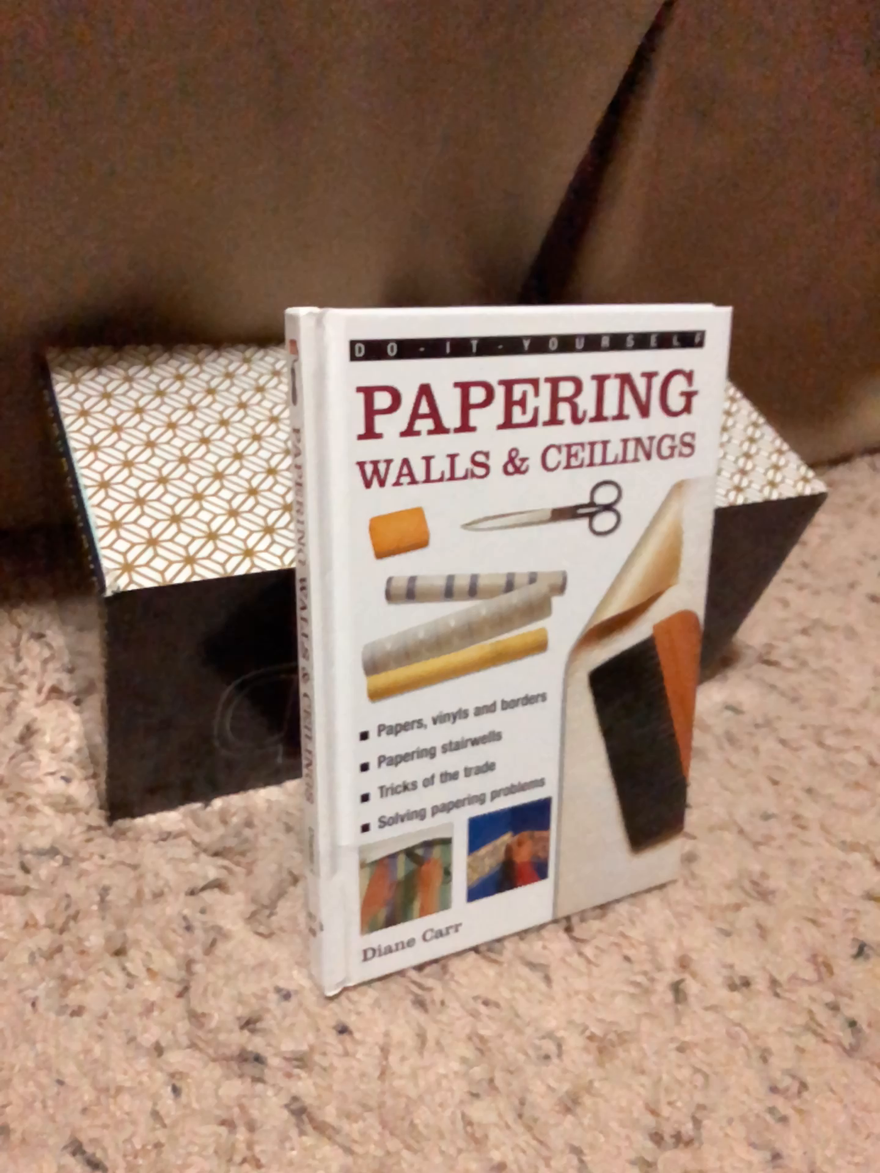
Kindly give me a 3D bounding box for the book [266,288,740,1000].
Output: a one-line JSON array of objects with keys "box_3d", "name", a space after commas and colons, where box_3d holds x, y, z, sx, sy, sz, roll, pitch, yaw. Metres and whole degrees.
[{"box_3d": [0.022, 0.016, 0.305, 0.143, 0.207, 0.015, -9, 20, -26], "name": "book"}]
